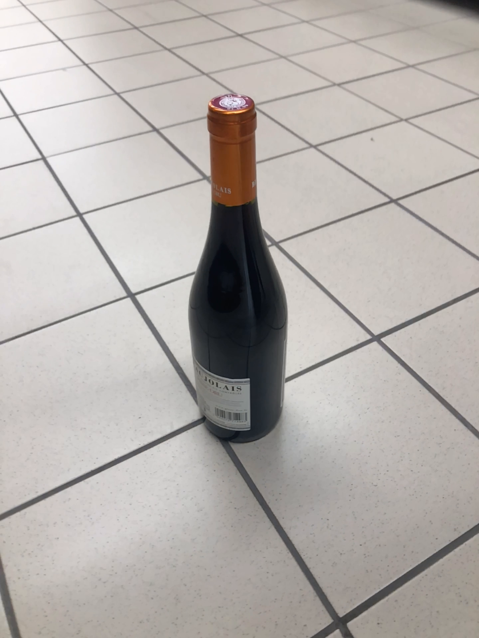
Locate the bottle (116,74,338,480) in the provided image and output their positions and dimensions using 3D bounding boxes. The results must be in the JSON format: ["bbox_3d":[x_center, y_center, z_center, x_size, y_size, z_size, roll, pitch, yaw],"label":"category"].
[{"bbox_3d":[-0.005,-0.012,0.399,0.090,0.288,0.090,-1,43,1],"label":"bottle"}]
